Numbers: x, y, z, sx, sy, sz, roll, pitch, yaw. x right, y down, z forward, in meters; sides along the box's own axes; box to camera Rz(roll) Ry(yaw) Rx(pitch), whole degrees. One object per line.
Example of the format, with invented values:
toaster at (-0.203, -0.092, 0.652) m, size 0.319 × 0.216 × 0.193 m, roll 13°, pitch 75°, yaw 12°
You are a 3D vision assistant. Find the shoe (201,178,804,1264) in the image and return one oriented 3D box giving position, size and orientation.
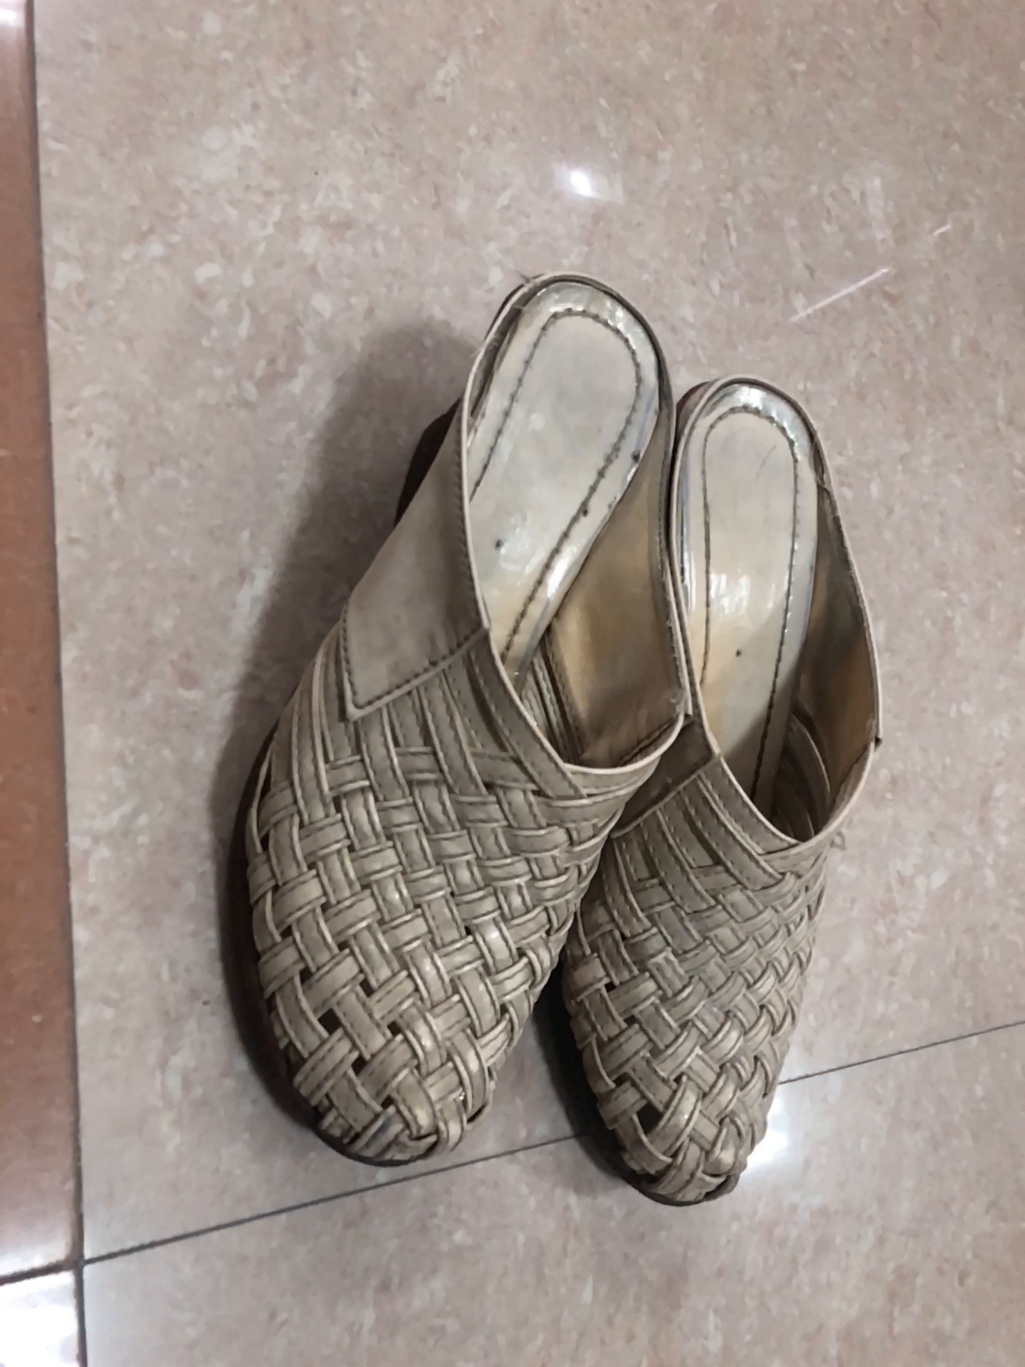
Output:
shoe at (0.003, 0.008, 0.299) m, size 0.090 × 0.080 × 0.240 m, roll 19°, pitch 70°, yaw -24°

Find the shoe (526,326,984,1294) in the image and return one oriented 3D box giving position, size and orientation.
shoe at (0.068, 0.034, 0.334) m, size 0.090 × 0.080 × 0.240 m, roll 10°, pitch 74°, yaw -25°
